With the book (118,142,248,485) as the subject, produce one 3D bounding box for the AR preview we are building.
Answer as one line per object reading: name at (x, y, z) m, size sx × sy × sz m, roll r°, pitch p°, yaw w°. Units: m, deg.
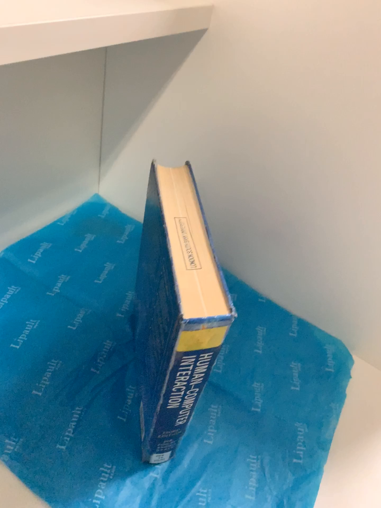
book at (-0.033, 0.059, 0.398) m, size 0.050 × 0.257 × 0.222 m, roll 1°, pitch 41°, yaw -15°
